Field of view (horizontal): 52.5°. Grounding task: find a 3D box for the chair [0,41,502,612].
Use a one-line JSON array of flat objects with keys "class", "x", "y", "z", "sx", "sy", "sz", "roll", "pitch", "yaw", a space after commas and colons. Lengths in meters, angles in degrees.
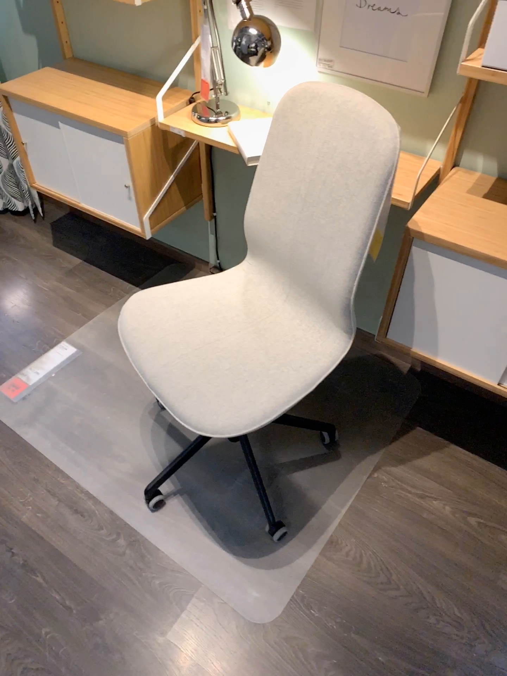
[{"class": "chair", "x": -0.064, "y": -0.014, "z": 1.248, "sx": 0.671, "sy": 1.016, "sz": 0.672, "roll": -29, "pitch": 52, "yaw": -26}]
